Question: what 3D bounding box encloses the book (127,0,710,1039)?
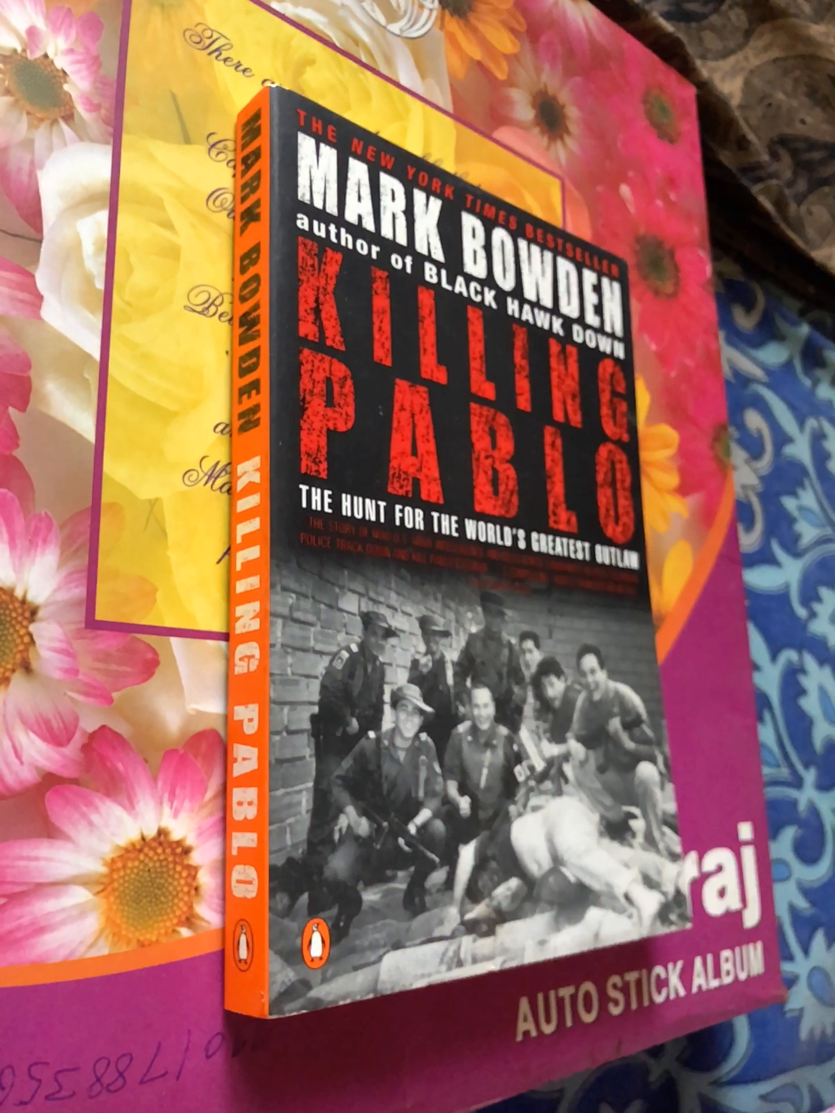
[{"bbox_3d":[0.004,-0.012,0.255,0.151,0.030,0.230,7,72,-35],"label":"book"}]
